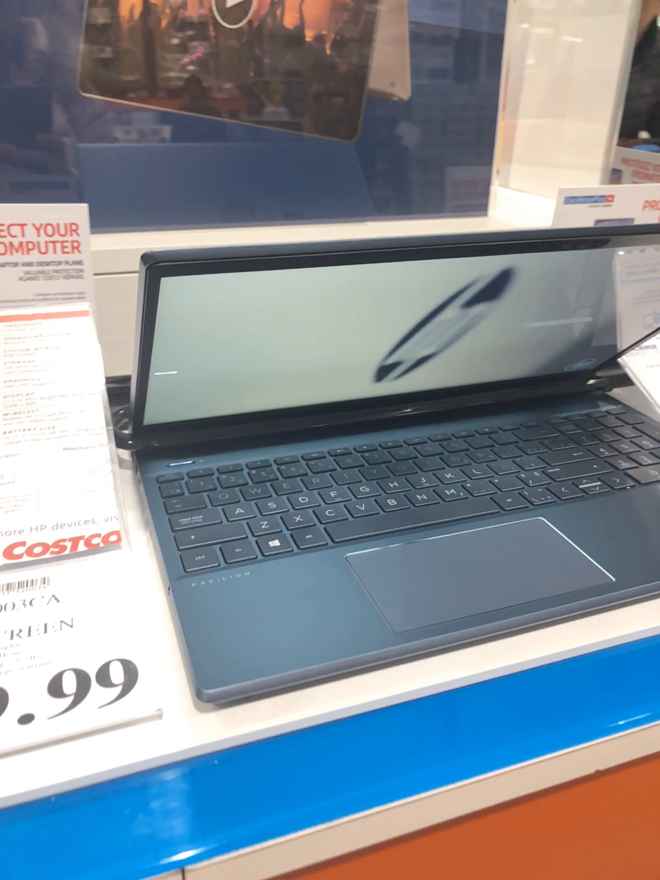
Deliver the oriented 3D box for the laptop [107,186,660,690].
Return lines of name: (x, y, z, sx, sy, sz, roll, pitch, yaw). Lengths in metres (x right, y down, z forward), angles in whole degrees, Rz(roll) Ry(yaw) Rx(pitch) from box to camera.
laptop: (0.079, -0.040, 0.390, 0.346, 0.149, 0.219, -8, 27, -18)
